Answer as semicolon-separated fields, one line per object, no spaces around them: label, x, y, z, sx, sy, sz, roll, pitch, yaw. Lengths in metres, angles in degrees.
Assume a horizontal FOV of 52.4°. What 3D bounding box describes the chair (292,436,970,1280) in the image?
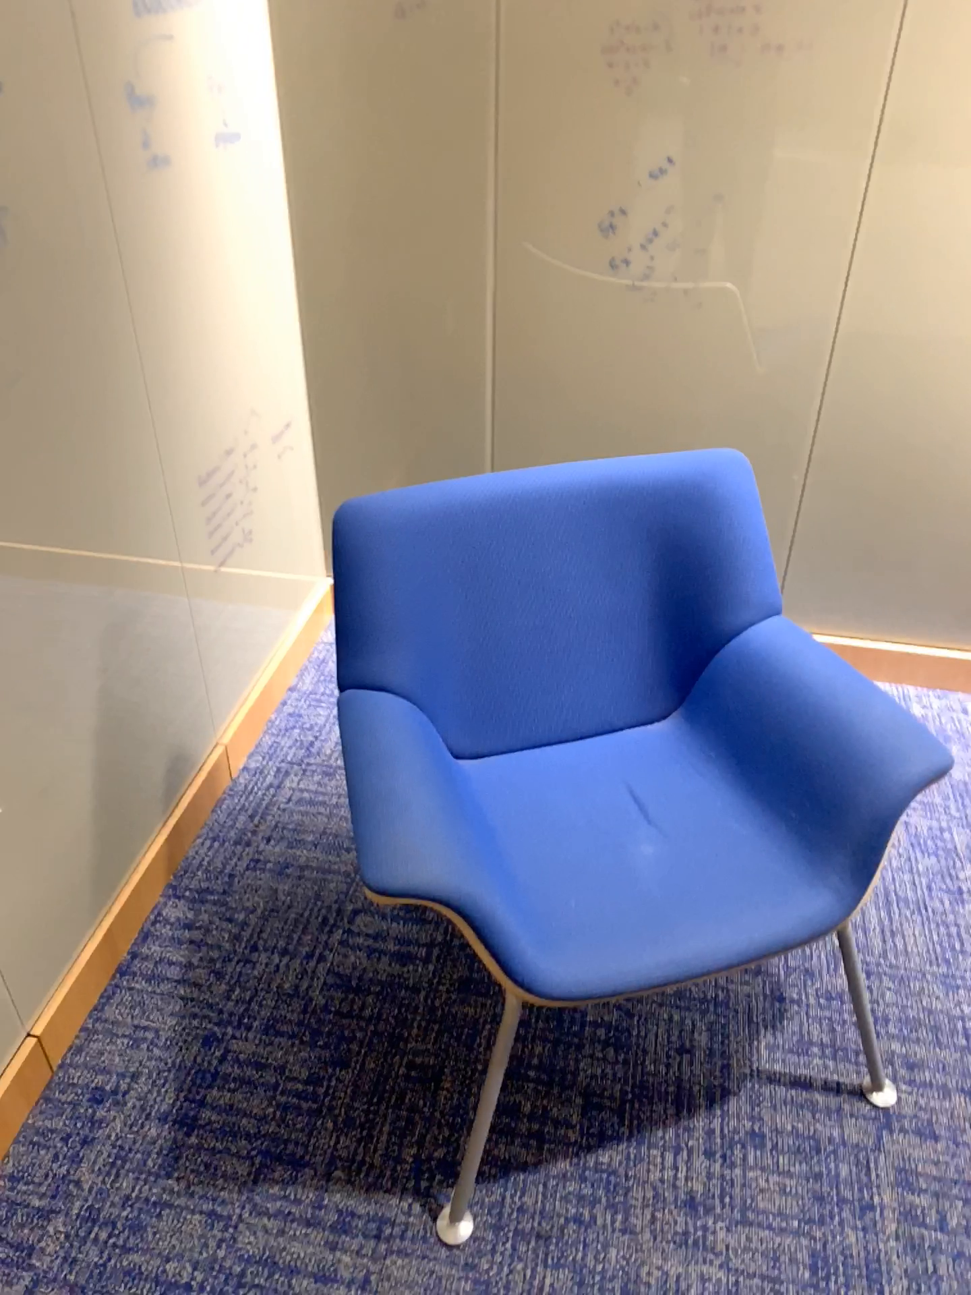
chair;0.206;0.222;1.406;0.789;0.711;0.744;-9;36;-14
